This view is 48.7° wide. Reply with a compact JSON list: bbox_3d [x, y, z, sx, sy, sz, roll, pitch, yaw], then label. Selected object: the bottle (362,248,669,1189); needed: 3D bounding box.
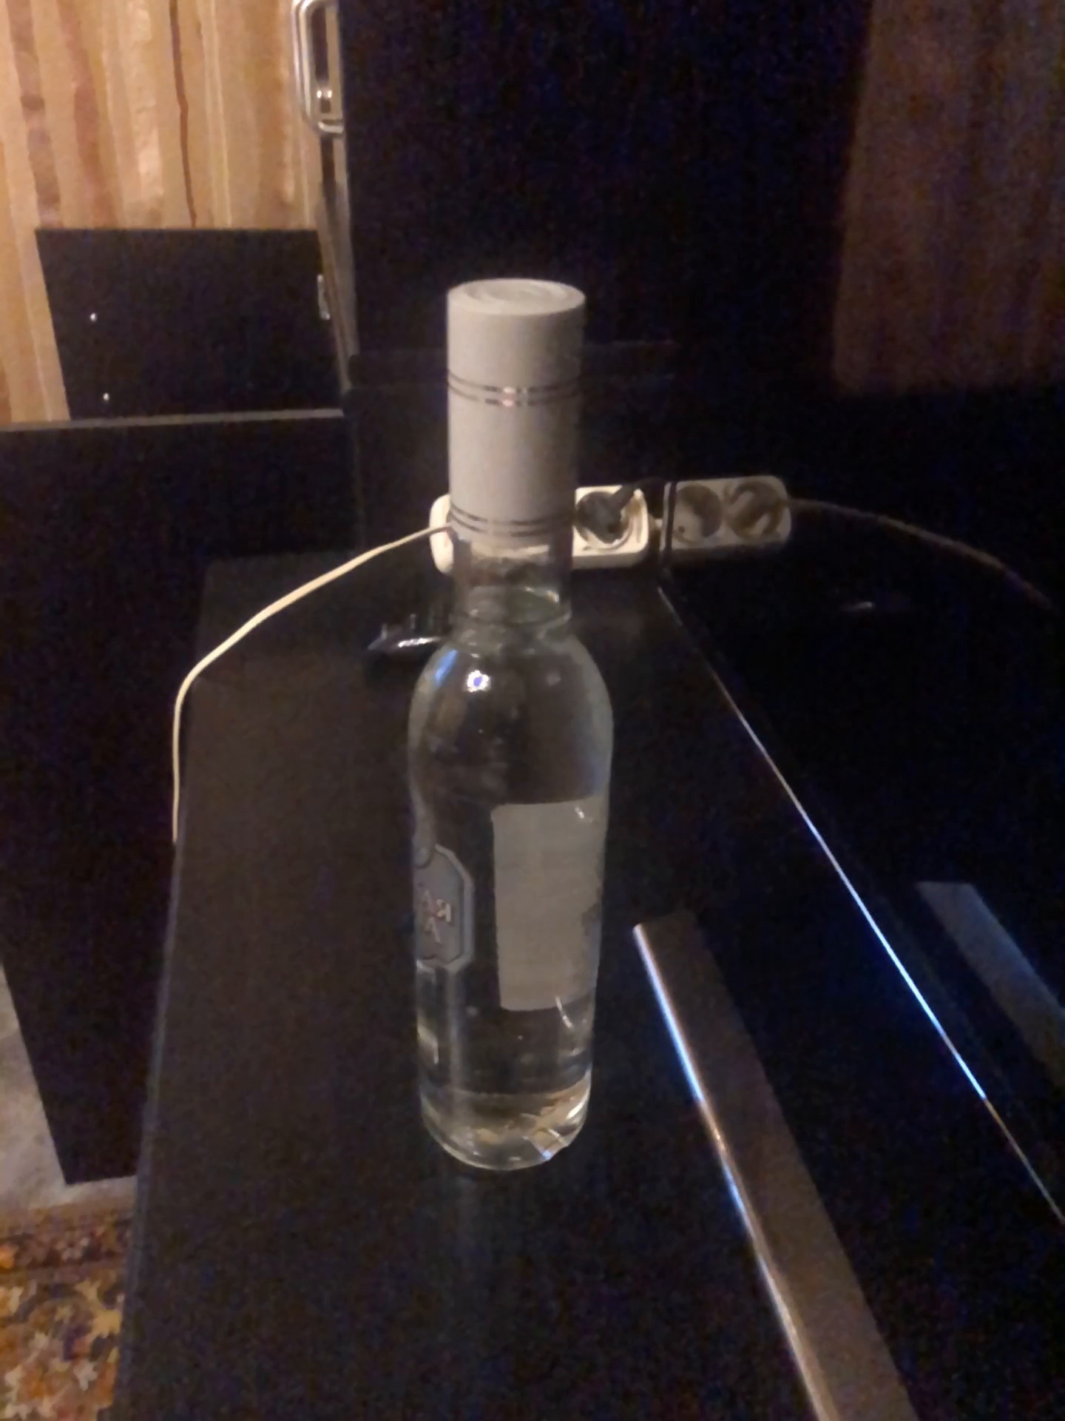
[{"bbox_3d":[-0.010,0.020,0.357,0.067,0.290,0.065,1,31,-1],"label":"bottle"}]
